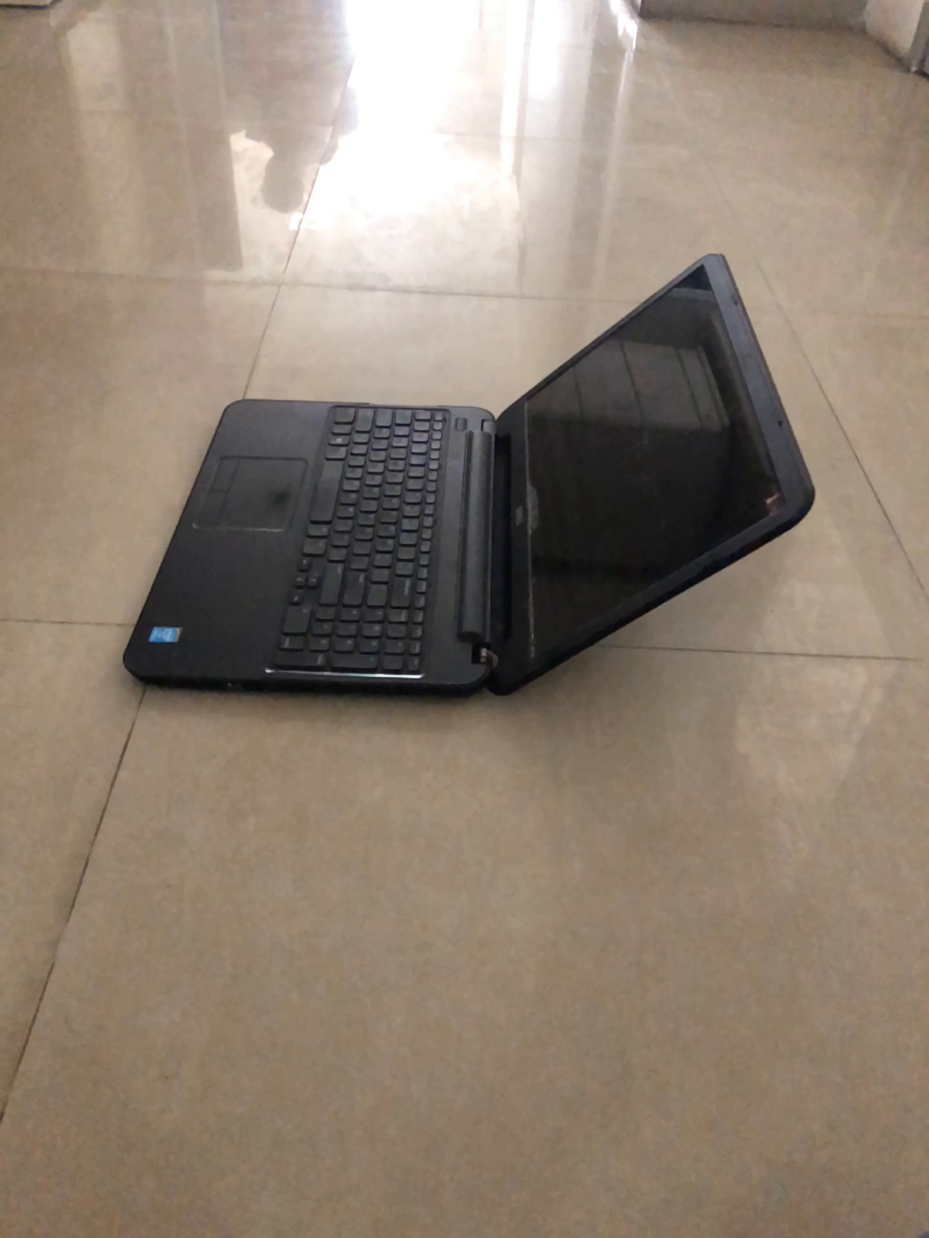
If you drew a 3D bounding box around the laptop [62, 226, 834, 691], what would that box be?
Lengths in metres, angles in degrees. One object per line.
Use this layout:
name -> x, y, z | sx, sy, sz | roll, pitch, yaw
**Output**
laptop -> -0.006, -0.137, 0.753 | 0.427, 0.163, 0.360 | 2, 42, 1
